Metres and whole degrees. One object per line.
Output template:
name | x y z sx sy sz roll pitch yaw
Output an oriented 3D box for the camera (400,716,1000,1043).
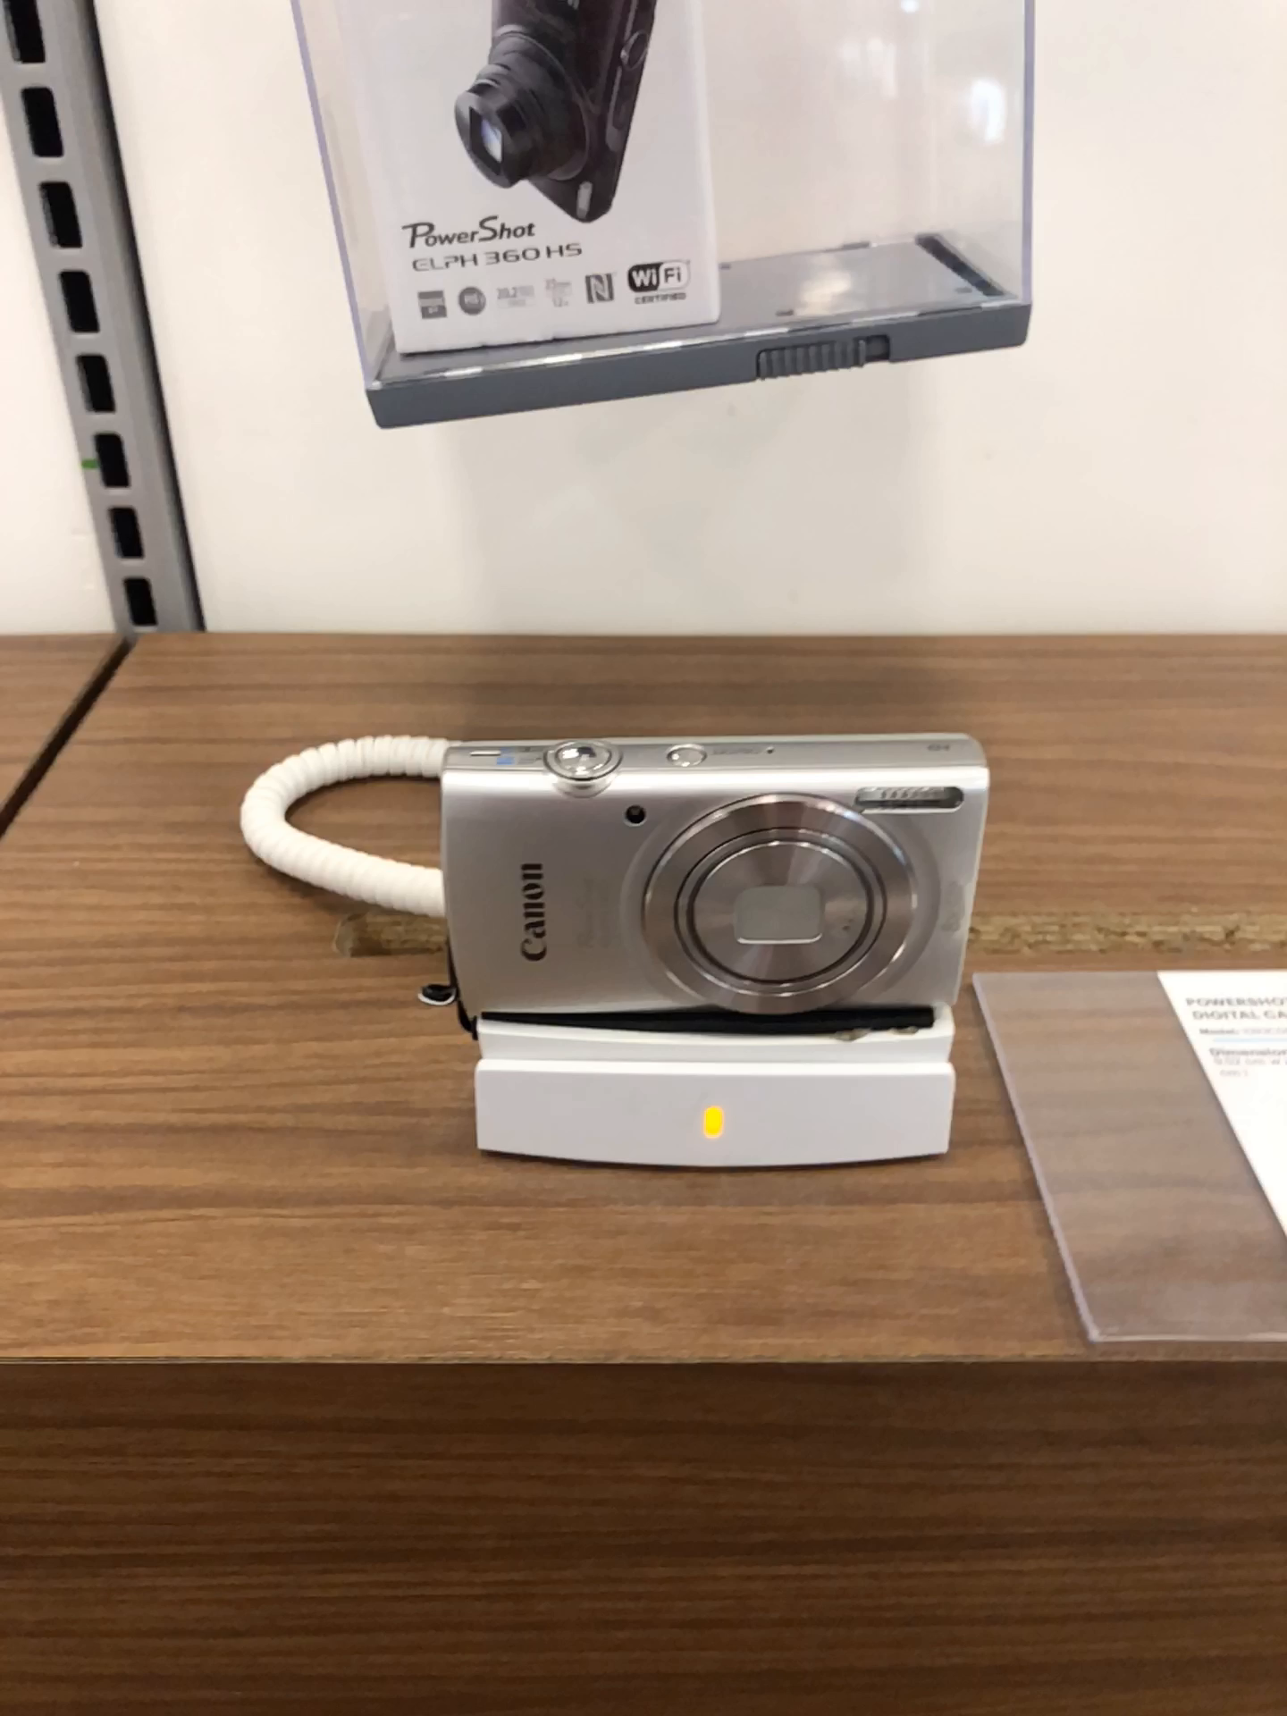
camera | 0.010 0.005 0.267 0.100 0.060 0.020 -1 37 0
